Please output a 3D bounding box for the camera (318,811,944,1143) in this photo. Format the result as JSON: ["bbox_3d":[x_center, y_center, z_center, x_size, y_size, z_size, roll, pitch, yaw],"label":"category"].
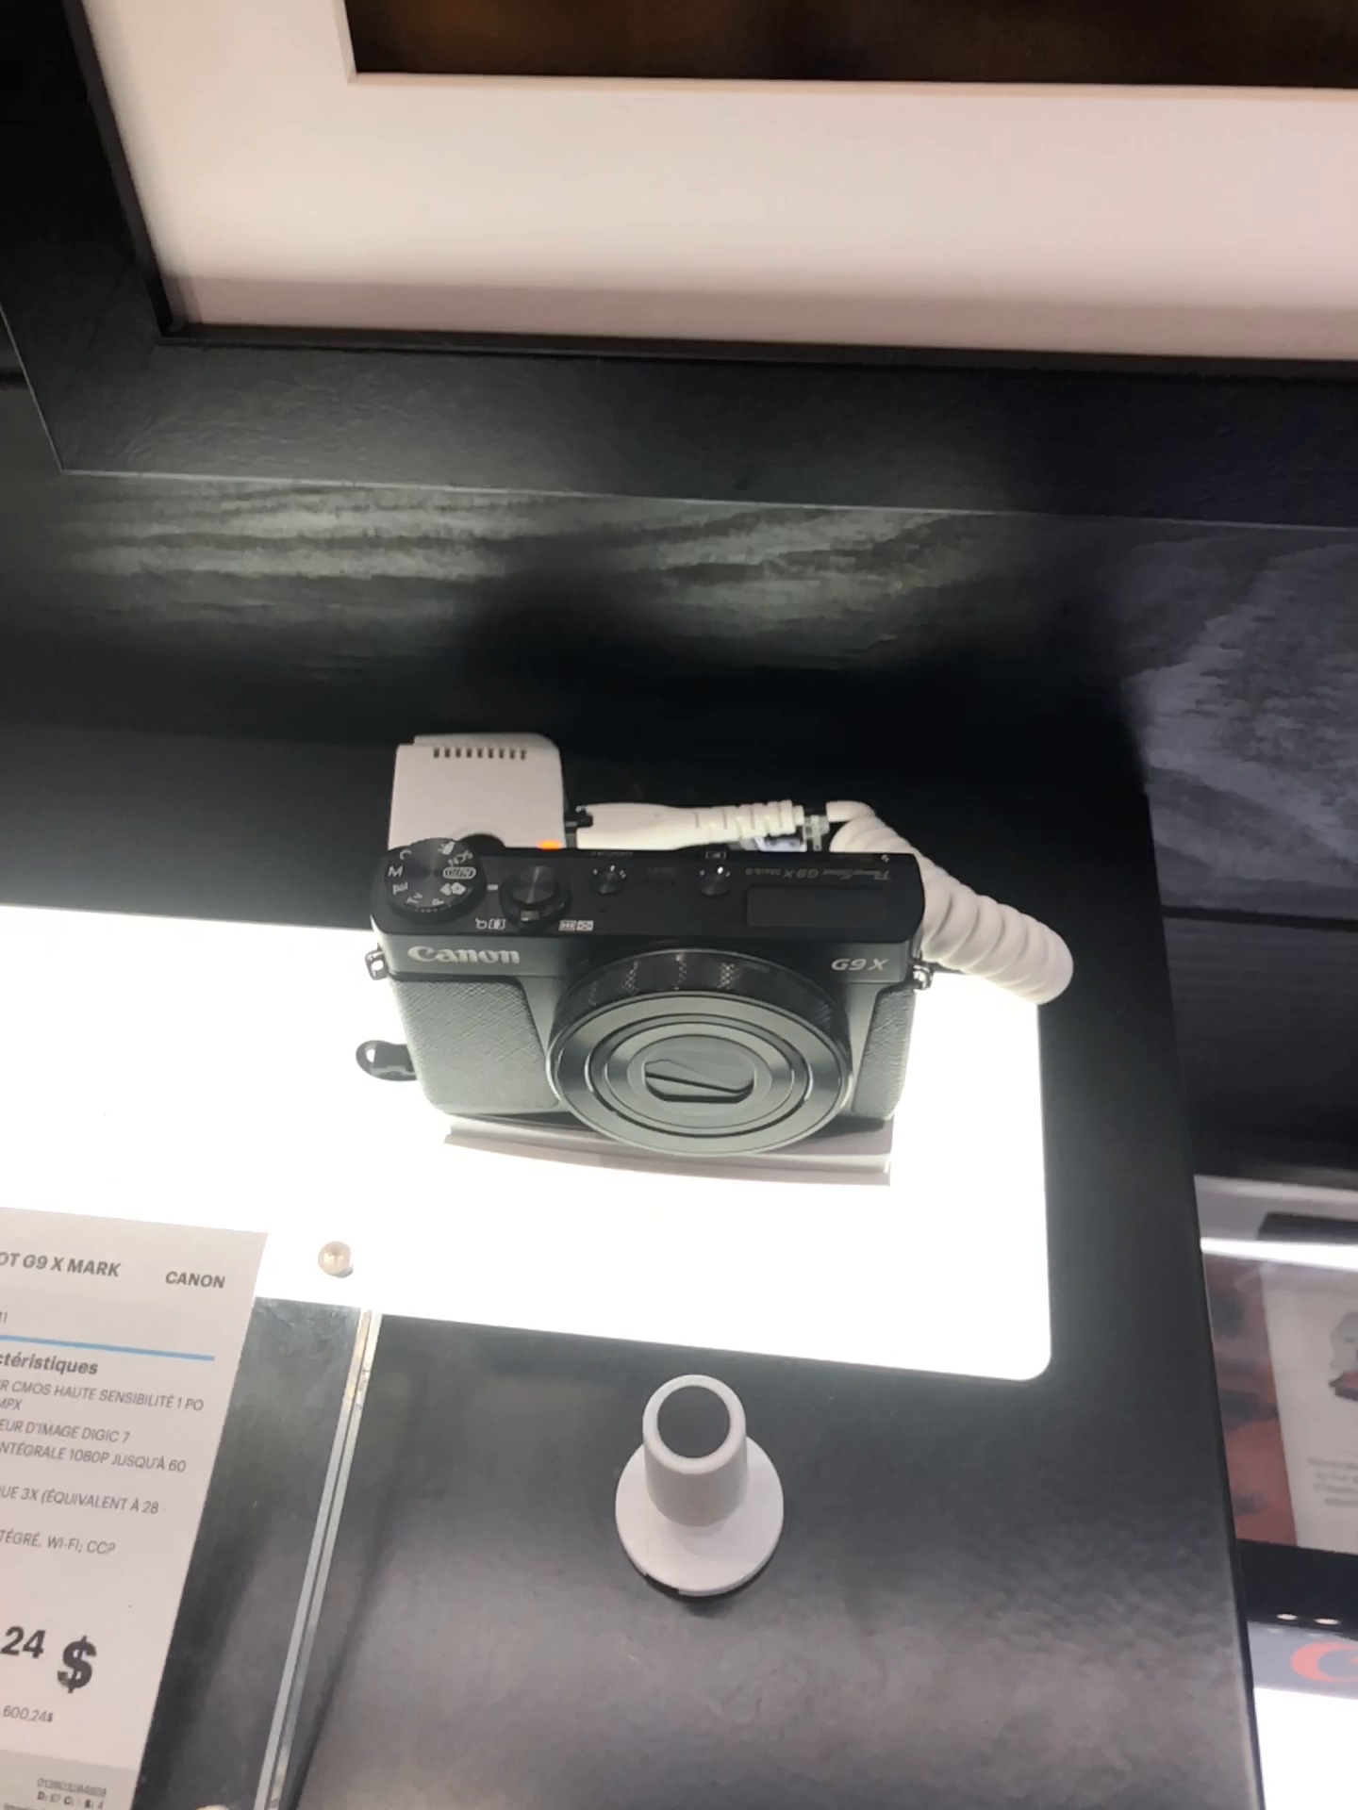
[{"bbox_3d":[-0.007,0.014,0.270,0.100,0.058,0.025,1,46,3],"label":"camera"}]
